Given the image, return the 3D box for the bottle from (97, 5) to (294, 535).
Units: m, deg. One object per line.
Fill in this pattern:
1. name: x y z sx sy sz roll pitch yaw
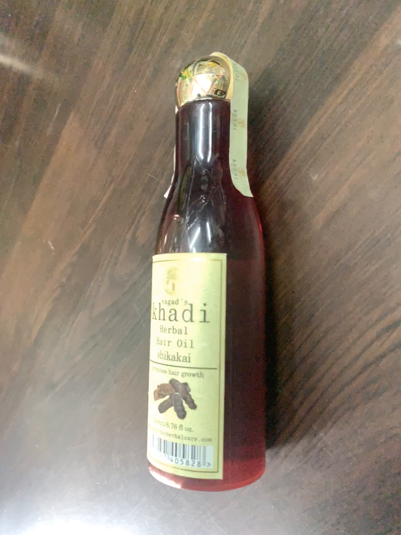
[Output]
1. bottle: 0.000 0.001 0.166 0.050 0.050 0.170 -2 83 42
